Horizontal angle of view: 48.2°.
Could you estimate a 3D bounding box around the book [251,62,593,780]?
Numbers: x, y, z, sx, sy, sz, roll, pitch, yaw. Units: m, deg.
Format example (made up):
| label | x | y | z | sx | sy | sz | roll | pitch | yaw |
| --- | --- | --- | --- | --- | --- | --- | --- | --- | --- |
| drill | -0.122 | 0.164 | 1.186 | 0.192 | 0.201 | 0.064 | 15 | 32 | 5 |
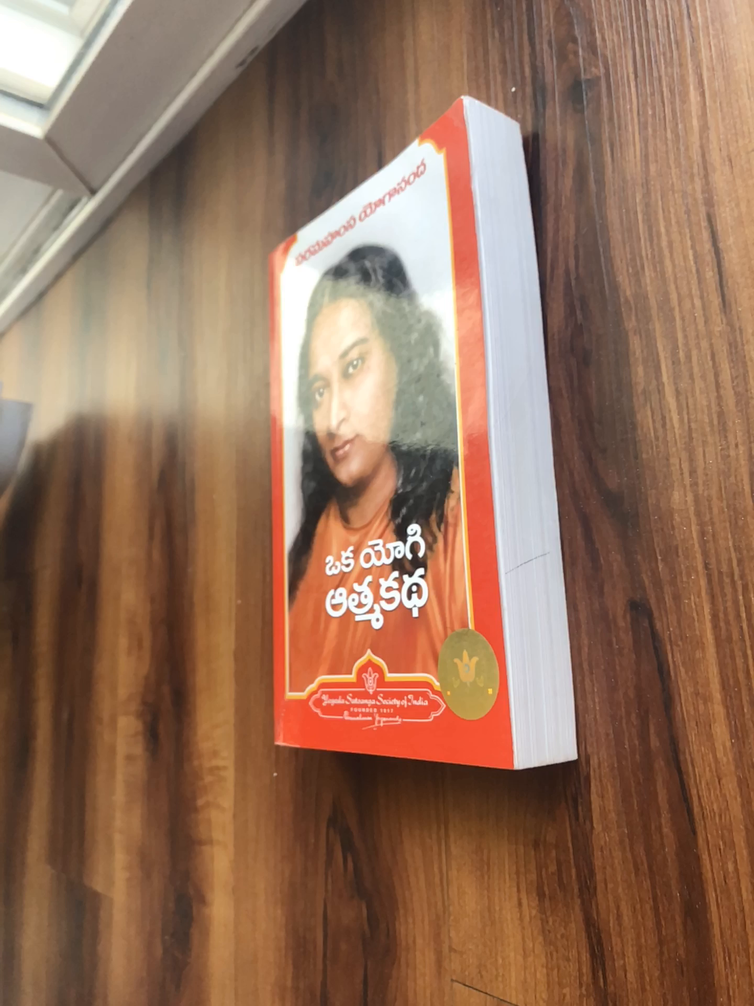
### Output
| label | x | y | z | sx | sy | sz | roll | pitch | yaw |
| --- | --- | --- | --- | --- | --- | --- | --- | --- | --- |
| book | 0.003 | -0.019 | 0.311 | 0.148 | 0.030 | 0.214 | -15 | 74 | 52 |
